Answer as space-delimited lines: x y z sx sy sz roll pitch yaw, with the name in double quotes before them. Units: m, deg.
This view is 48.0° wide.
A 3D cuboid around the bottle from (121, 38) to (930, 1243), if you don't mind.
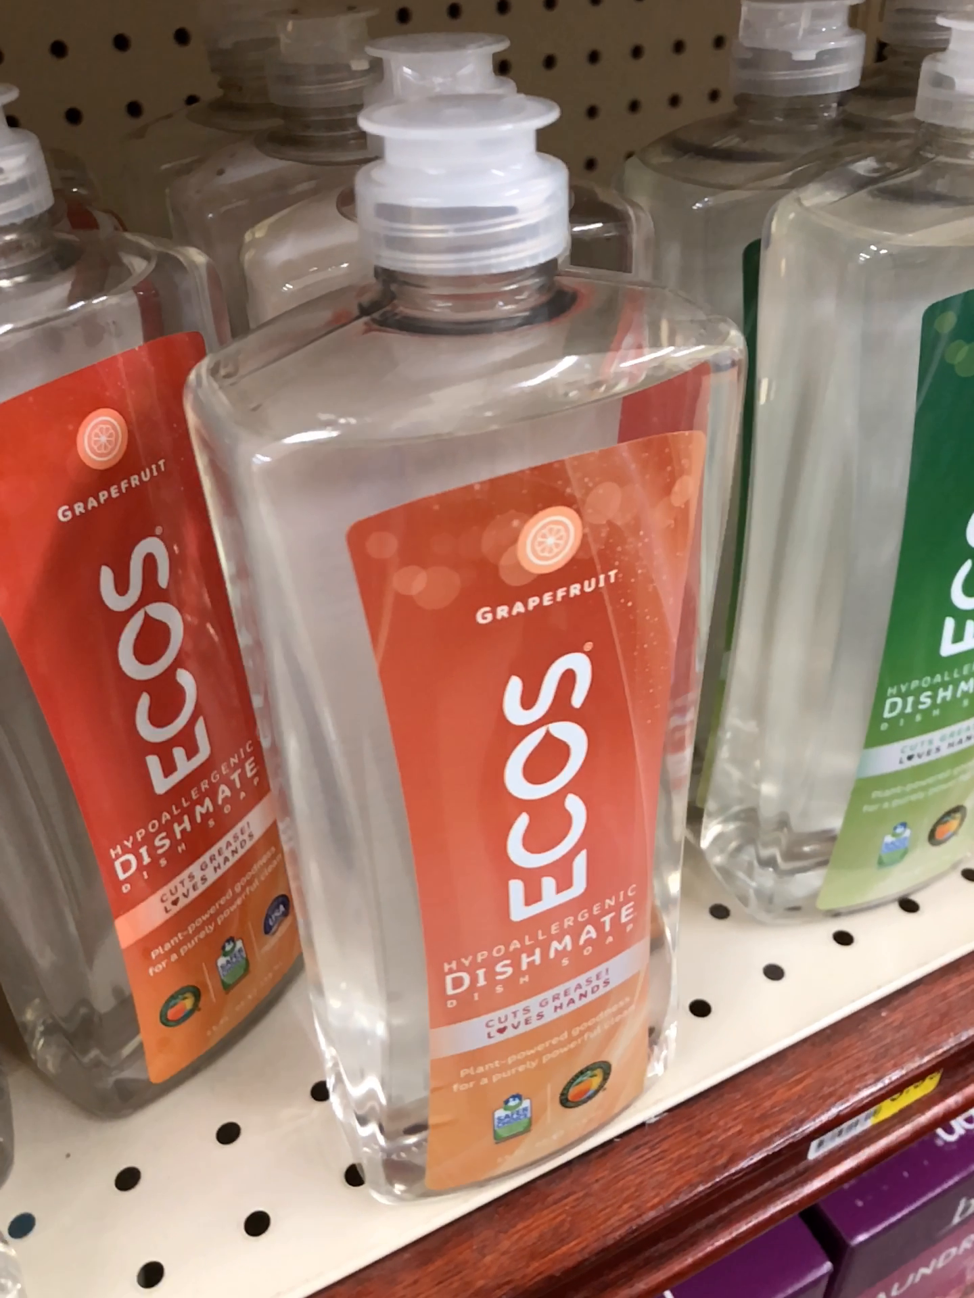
"bottle" 0.007 0.016 0.208 0.092 0.219 0.050 -18 40 -21
